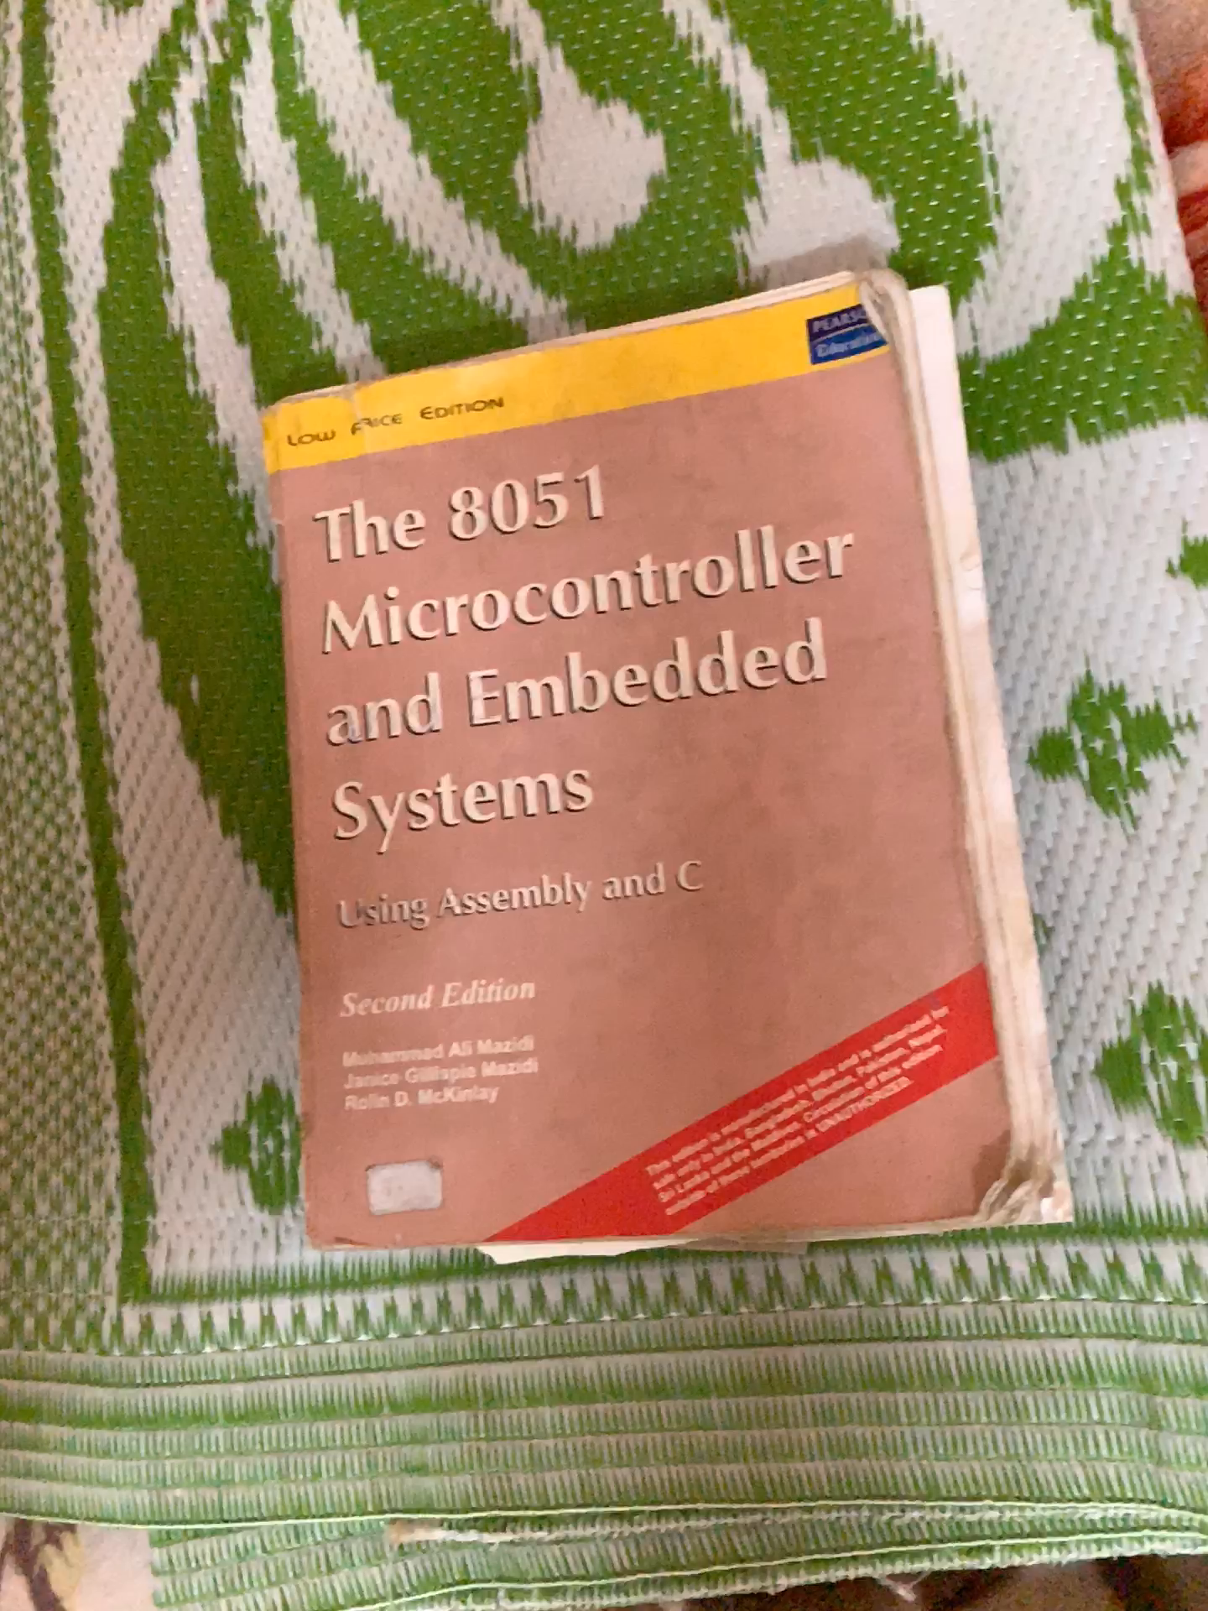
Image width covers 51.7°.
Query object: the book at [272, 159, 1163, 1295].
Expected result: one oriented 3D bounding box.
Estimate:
[{"bbox_3d":[0.020,-0.015,0.383,0.230,0.050,0.300,-8,81,17],"label":"book"}]
